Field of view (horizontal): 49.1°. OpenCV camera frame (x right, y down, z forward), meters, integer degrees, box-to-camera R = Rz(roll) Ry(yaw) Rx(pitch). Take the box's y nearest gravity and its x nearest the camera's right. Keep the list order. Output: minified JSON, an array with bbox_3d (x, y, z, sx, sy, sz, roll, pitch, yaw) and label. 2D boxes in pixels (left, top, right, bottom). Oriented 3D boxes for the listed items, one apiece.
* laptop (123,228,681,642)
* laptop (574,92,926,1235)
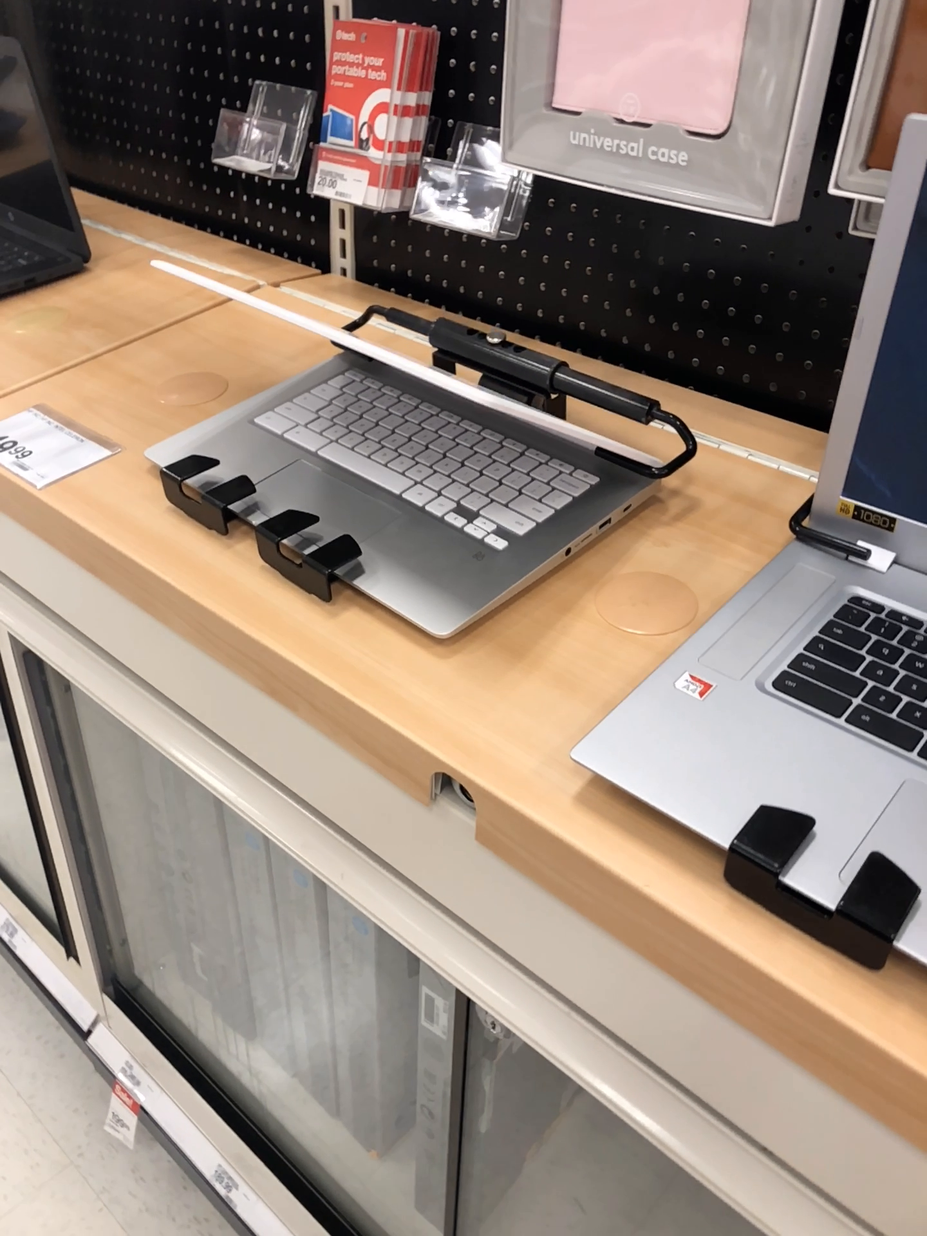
[{"bbox_3d":[-0.055,-0.154,0.716,0.331,0.100,0.215,30,51,35],"label":"laptop"},{"bbox_3d":[0.291,-0.024,0.410,0.389,0.244,0.273,27,45,32],"label":"laptop"}]
